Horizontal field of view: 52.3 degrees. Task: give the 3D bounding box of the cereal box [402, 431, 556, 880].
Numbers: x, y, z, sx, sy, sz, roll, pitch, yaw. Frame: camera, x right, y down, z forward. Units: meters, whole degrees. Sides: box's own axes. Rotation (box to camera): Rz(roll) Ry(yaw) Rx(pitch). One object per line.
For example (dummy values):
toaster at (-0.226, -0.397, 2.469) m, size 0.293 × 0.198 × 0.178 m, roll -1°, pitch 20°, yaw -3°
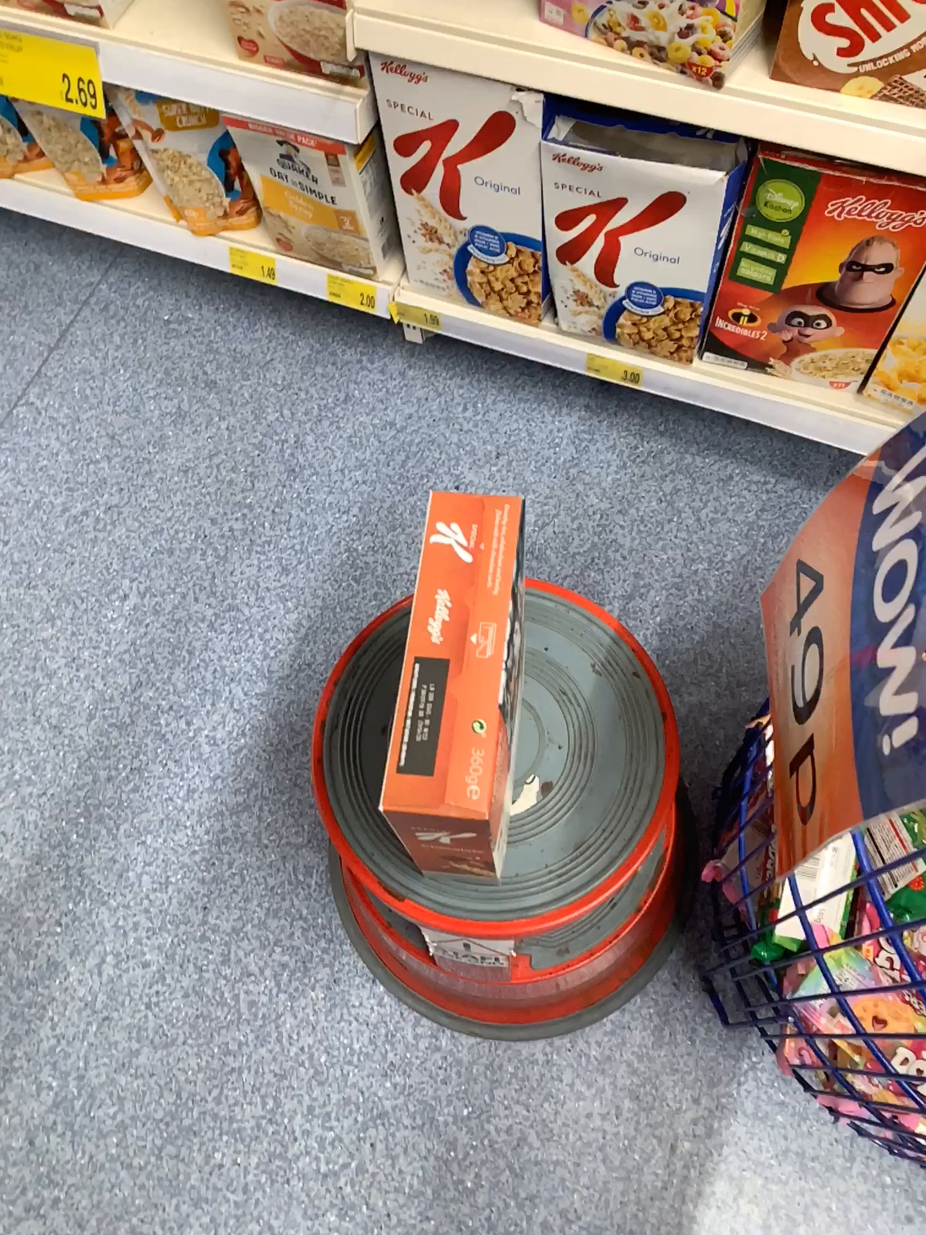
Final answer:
cereal box at (0.020, 0.044, 0.624) m, size 0.060 × 0.269 × 0.211 m, roll 4°, pitch 67°, yaw 6°
